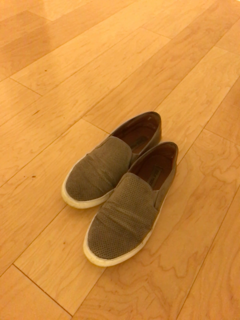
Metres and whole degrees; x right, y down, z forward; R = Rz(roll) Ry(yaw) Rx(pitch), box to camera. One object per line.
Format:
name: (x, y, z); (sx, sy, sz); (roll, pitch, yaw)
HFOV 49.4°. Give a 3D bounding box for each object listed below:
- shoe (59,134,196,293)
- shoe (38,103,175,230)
shoe: (0.028, 0.077, 0.481); (0.110, 0.050, 0.282); (29, 56, 17)
shoe: (-0.014, -0.003, 0.538); (0.110, 0.060, 0.281); (36, 58, 21)
